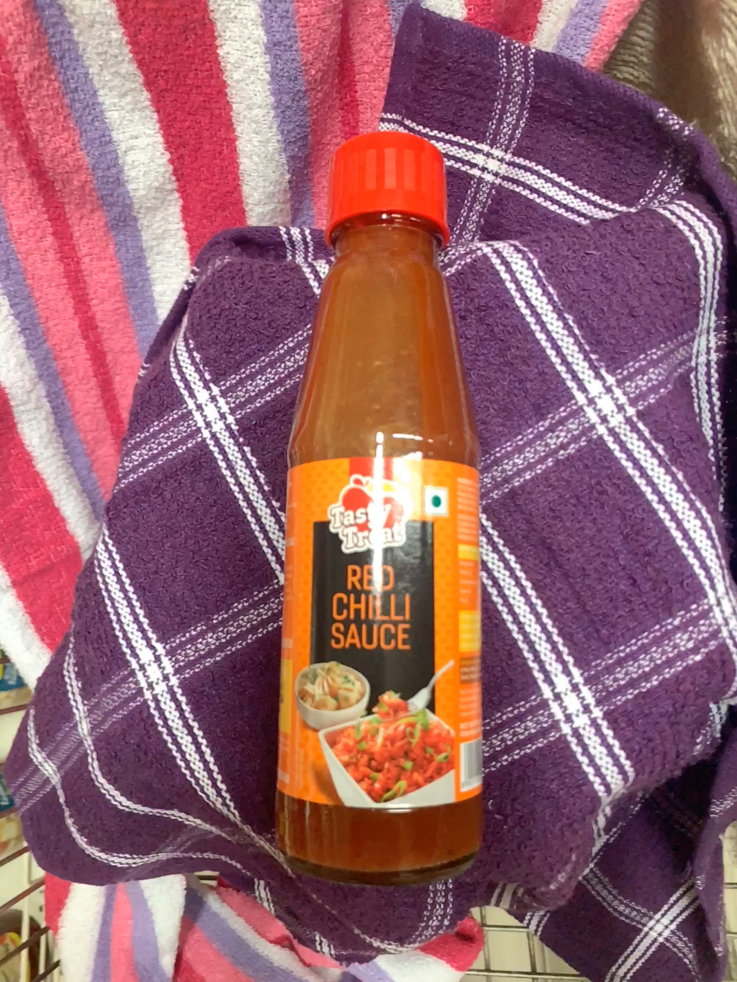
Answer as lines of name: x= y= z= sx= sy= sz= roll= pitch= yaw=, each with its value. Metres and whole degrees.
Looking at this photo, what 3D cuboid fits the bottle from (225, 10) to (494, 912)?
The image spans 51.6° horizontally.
bottle: x=-0.001 y=-0.009 z=0.176 sx=0.050 sy=0.040 sz=0.180 roll=-2 pitch=83 yaw=14
